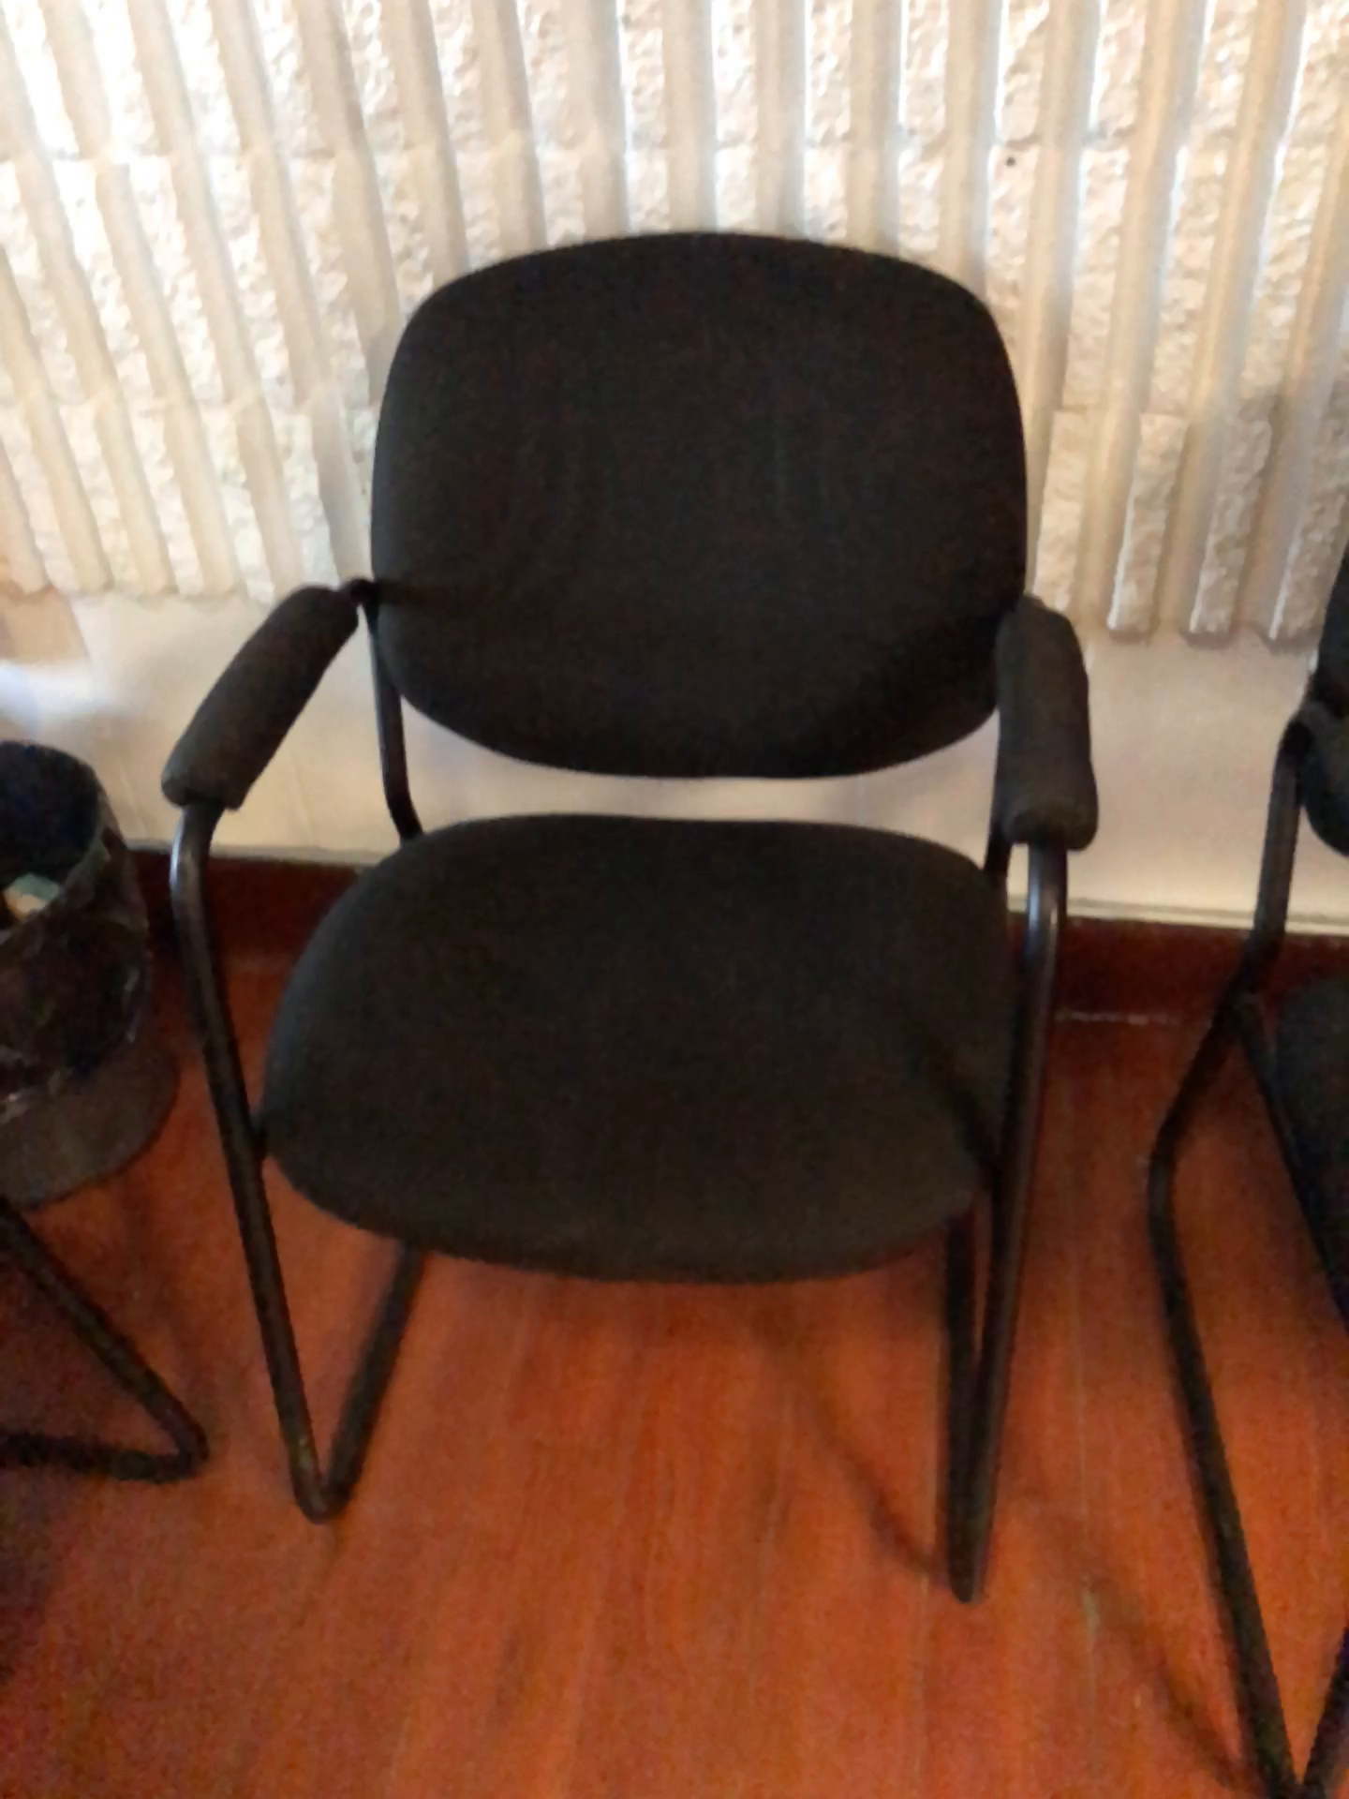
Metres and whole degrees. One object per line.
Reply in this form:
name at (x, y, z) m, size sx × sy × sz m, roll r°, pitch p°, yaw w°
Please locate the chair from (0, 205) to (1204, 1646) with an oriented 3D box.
chair at (0.002, -0.012, 1.186) m, size 0.590 × 0.794 × 0.775 m, roll 3°, pitch 41°, yaw 9°
